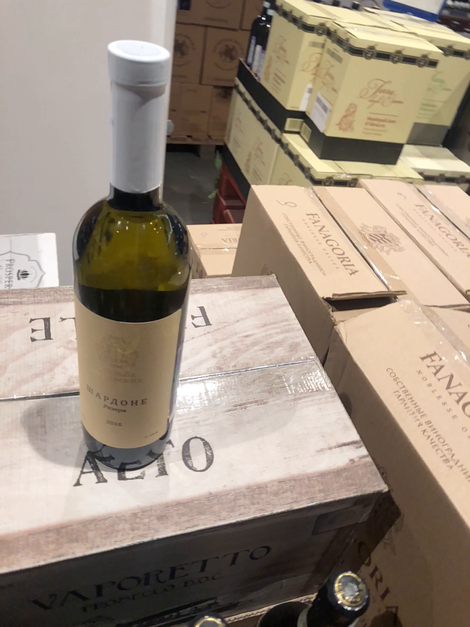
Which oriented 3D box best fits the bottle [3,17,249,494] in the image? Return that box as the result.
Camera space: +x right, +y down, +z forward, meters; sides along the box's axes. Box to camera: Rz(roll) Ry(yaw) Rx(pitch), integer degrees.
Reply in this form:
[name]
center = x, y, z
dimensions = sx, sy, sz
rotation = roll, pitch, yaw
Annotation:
[bottle]
center = -0.068, -0.009, 0.335
dimensions = 0.090, 0.298, 0.081
rotation = 14, 40, 2
